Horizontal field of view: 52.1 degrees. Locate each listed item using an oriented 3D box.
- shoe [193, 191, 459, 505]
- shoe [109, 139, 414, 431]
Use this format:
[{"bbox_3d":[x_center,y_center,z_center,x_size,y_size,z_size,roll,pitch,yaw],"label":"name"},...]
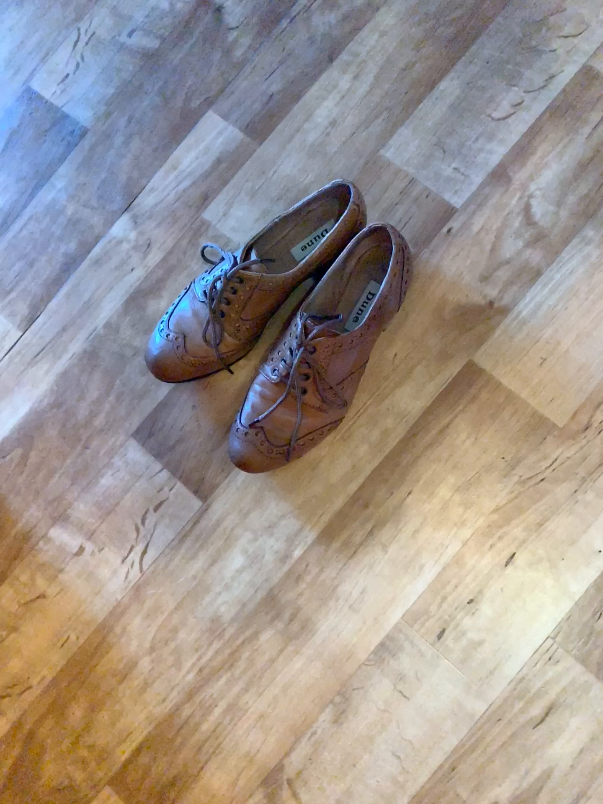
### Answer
[{"bbox_3d":[0.026,-0.033,0.511,0.080,0.120,0.230,34,87,13],"label":"shoe"},{"bbox_3d":[-0.025,-0.091,0.545,0.240,0.120,0.090,-39,77,1],"label":"shoe"}]
